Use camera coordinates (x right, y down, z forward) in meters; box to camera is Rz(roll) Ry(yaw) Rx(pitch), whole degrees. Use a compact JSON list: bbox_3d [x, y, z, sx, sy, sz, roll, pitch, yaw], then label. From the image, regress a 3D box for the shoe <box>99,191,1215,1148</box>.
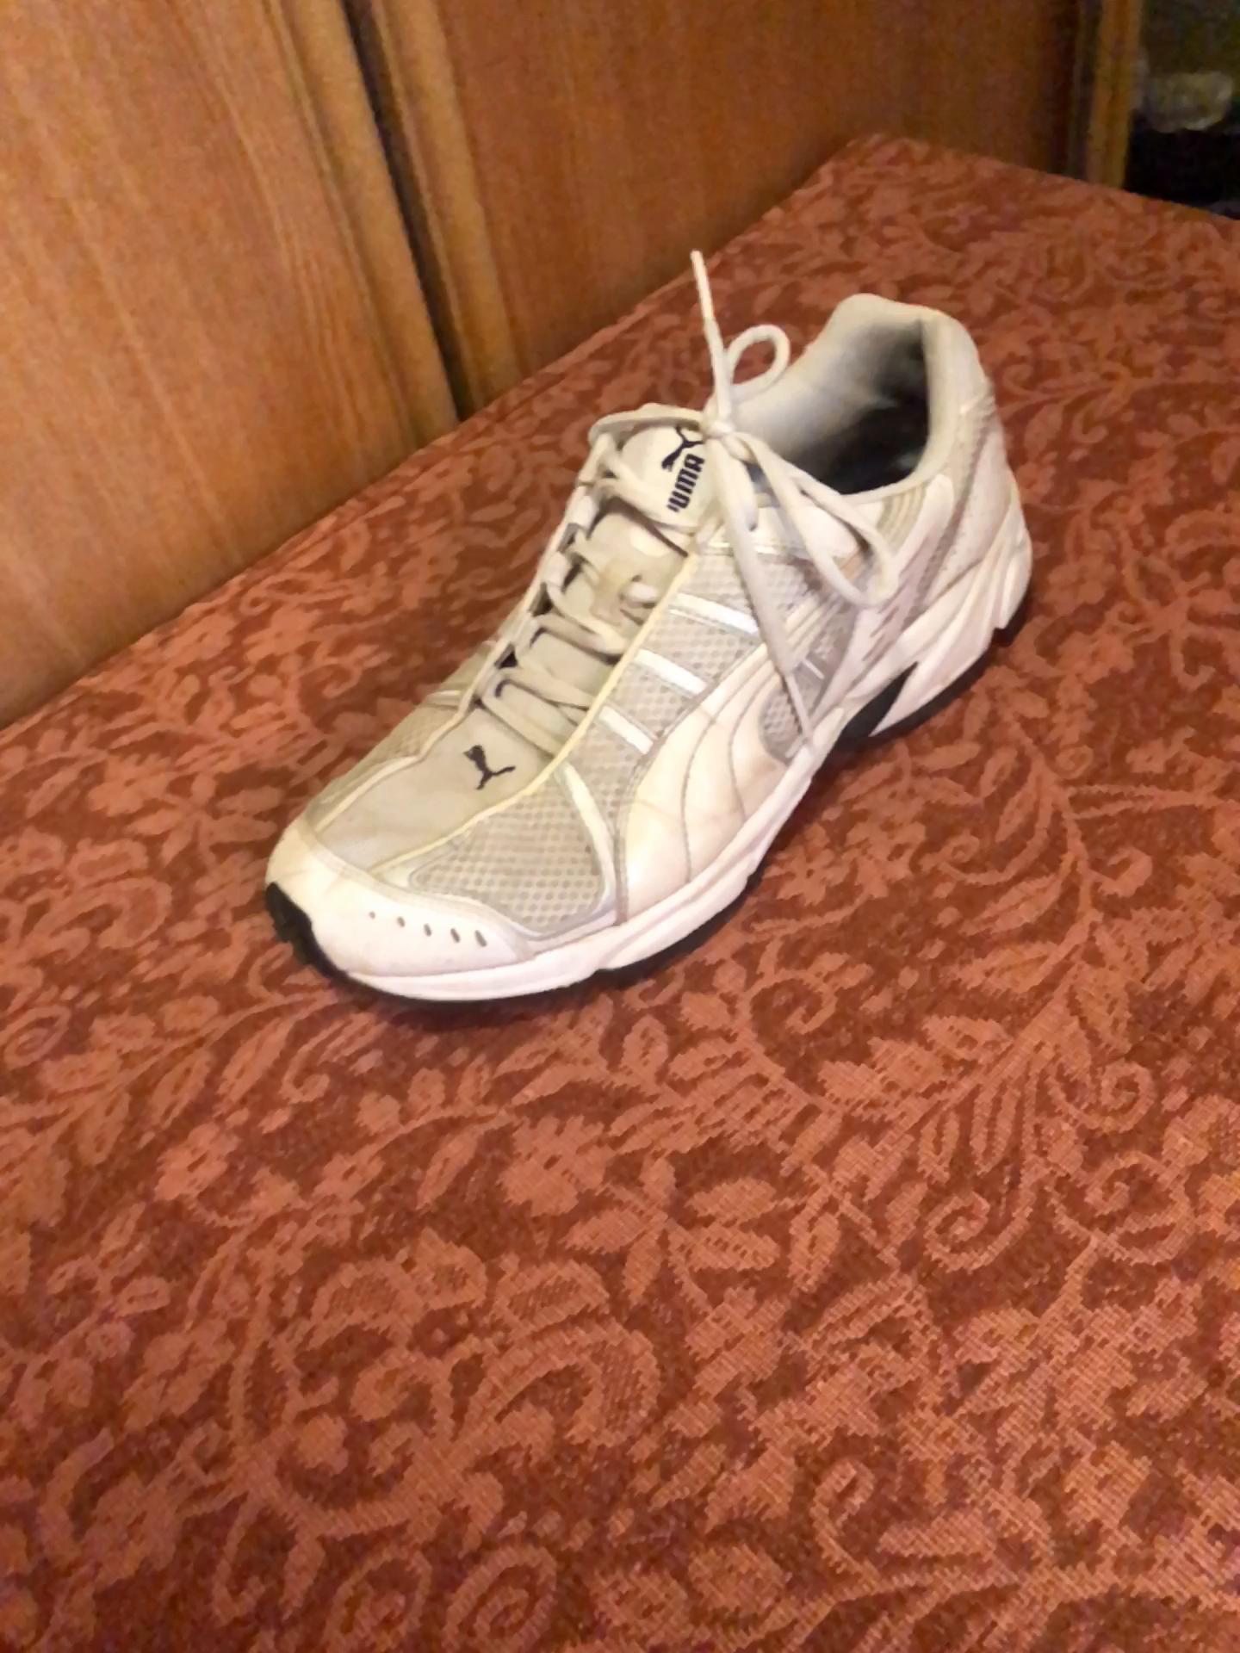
[{"bbox_3d":[0.023,-0.062,0.400,0.290,0.100,0.120,-37,52,-20],"label":"shoe"}]
